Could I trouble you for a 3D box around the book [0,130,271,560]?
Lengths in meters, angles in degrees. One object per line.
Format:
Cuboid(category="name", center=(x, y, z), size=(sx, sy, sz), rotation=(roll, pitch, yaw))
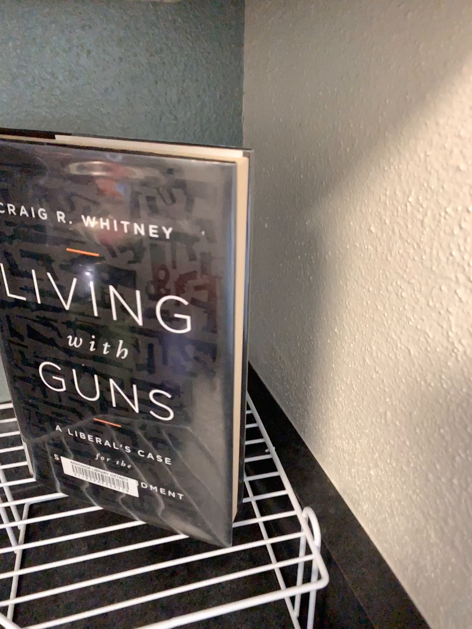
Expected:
Cuboid(category="book", center=(-0.071, 0.018, 0.283), size=(0.171, 0.229, 0.040), rotation=(9, 25, 19))
